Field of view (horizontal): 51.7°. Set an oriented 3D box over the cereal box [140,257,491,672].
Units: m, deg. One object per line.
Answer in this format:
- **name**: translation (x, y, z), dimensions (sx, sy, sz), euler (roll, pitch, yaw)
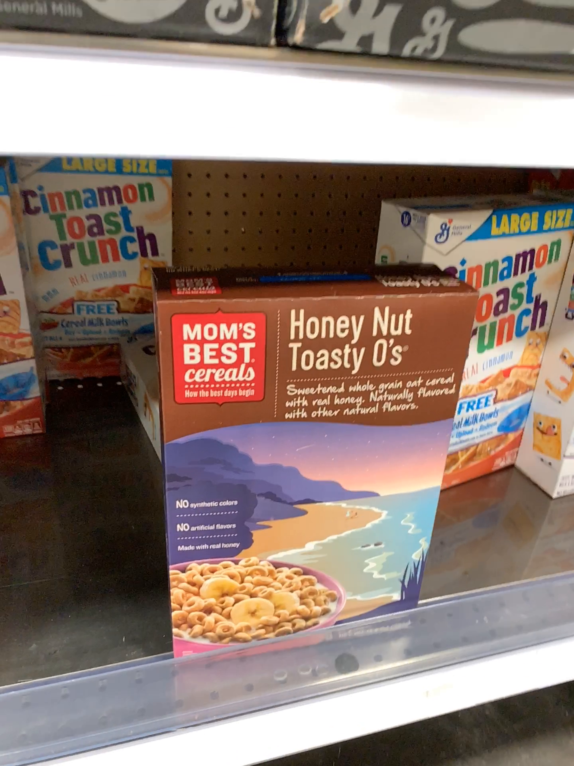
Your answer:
- **cereal box**: translation (0.009, 0.060, 0.417), dimensions (0.200, 0.279, 0.070), euler (-4, 27, -14)
